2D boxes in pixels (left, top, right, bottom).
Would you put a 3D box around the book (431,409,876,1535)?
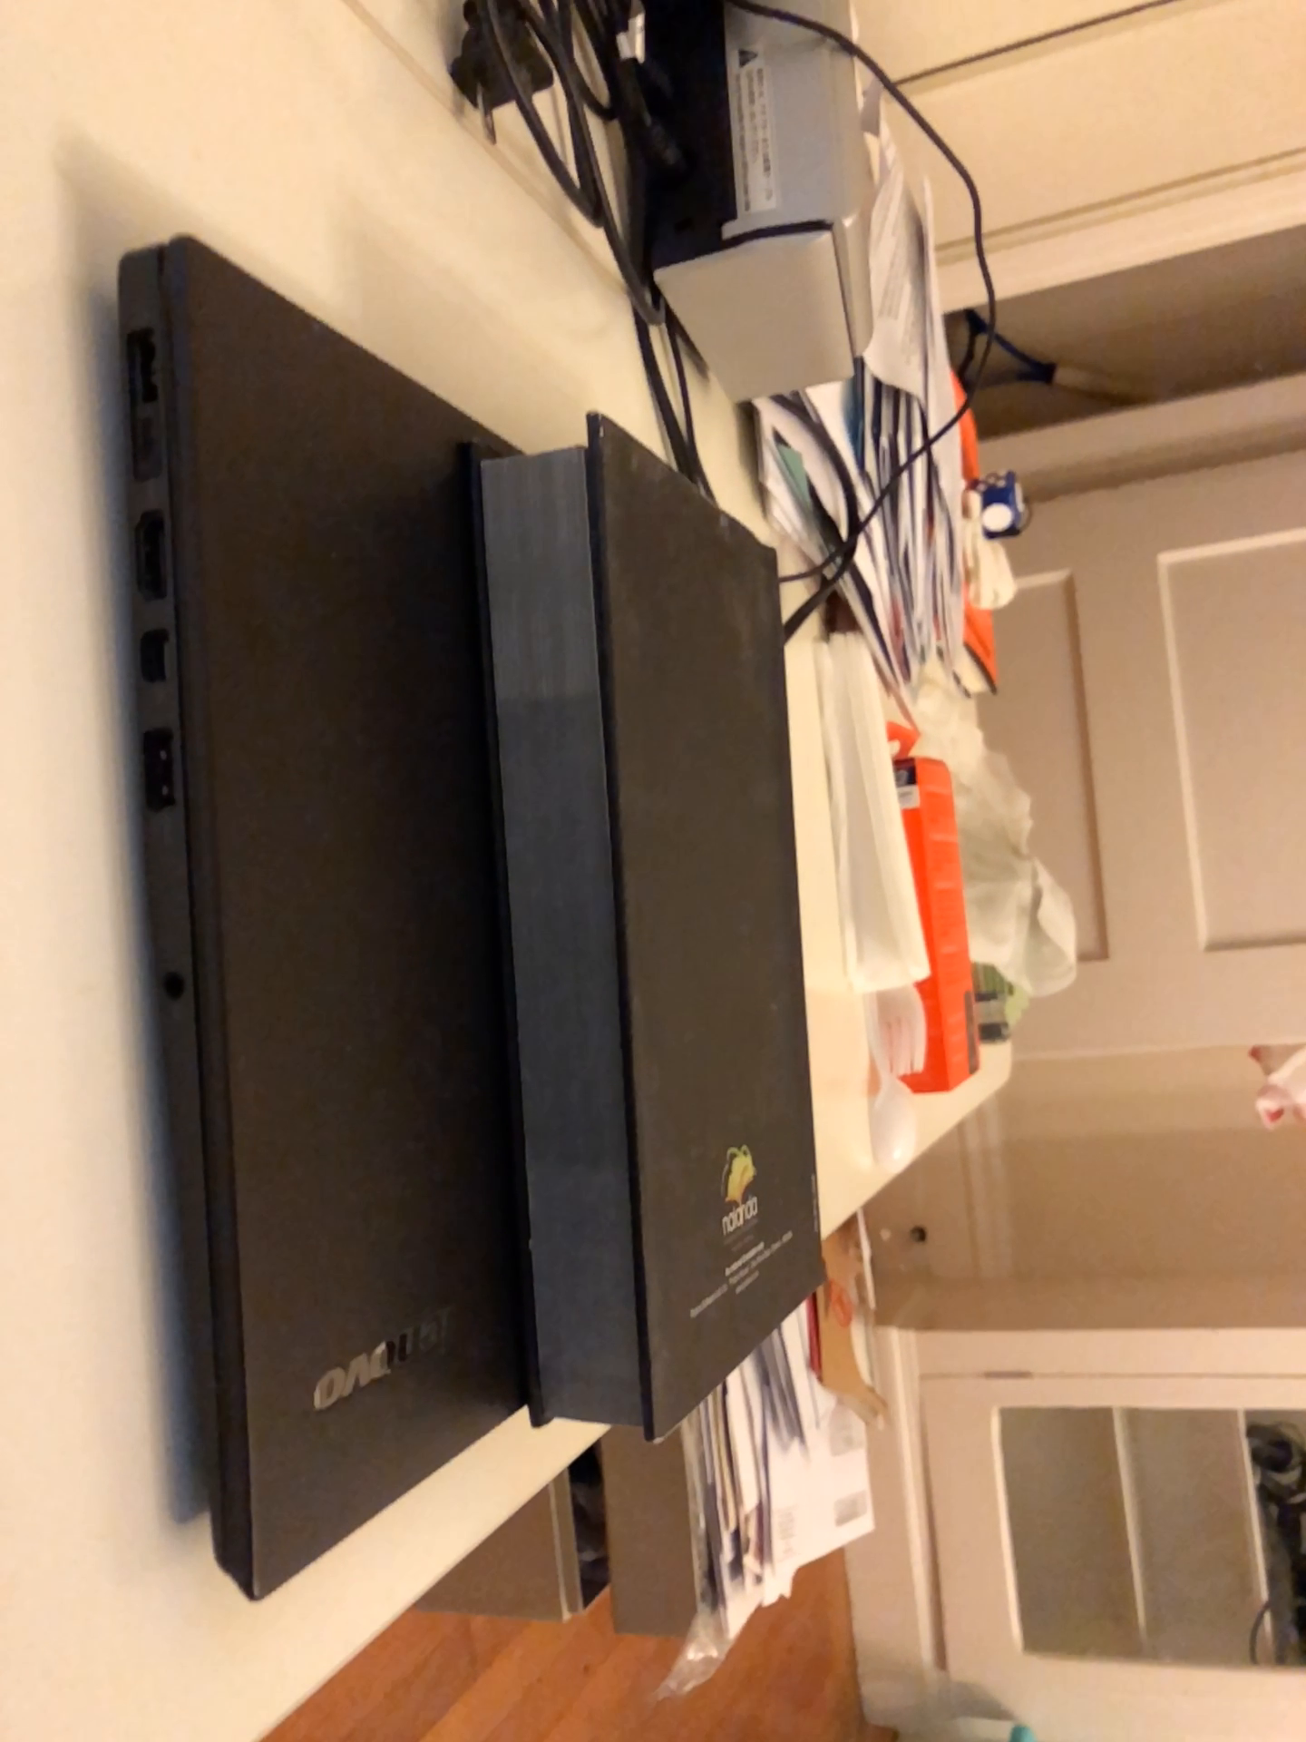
[{"bbox_3d":[0.009,0.022,0.372,0.151,0.040,0.230,3,81,-69],"label":"book"}]
